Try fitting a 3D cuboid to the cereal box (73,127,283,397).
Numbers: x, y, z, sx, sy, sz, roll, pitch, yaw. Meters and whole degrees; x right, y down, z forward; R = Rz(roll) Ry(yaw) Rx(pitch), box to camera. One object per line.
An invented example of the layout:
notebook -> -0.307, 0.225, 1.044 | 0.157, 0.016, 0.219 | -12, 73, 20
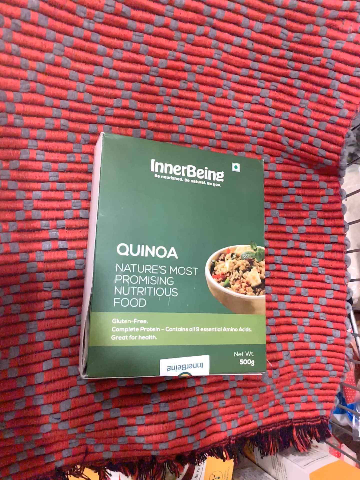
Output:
cereal box -> 0.003, 0.019, 0.287 | 0.150, 0.040, 0.180 | 5, 81, -17
